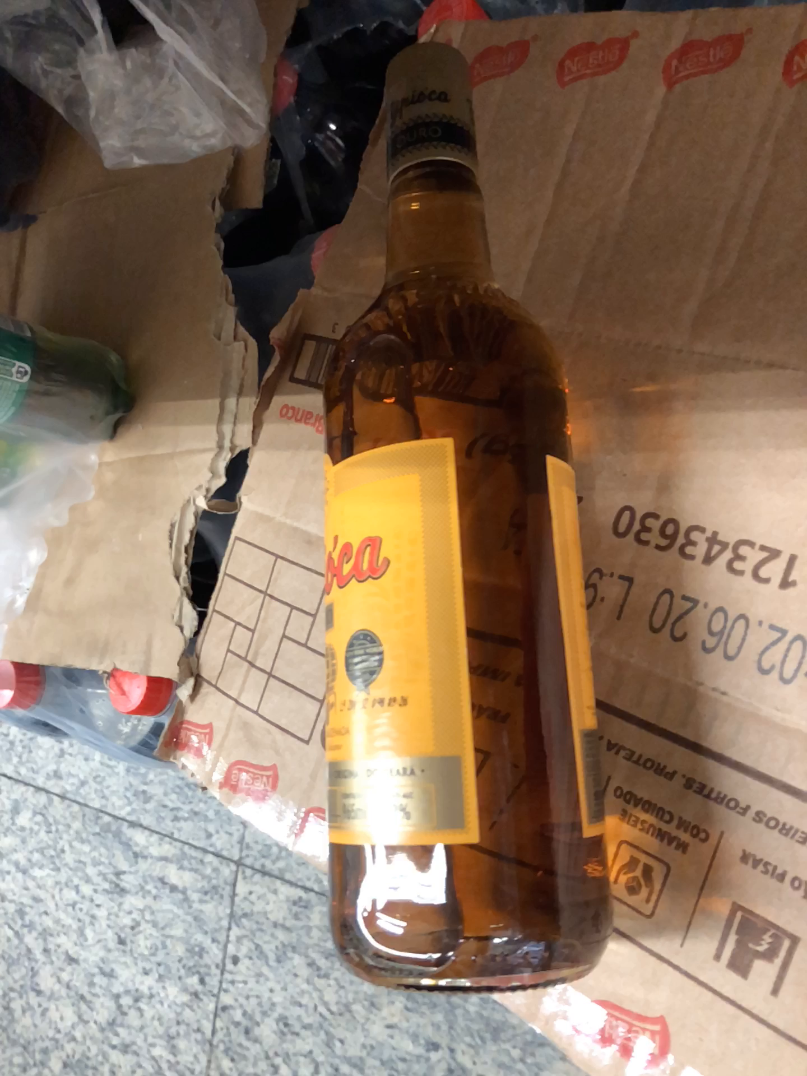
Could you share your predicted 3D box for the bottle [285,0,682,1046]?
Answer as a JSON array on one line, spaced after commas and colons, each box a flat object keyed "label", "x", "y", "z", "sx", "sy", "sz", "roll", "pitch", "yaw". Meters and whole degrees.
[{"label": "bottle", "x": 0.014, "y": -0.029, "z": 0.274, "sx": 0.090, "sy": 0.080, "sz": 0.310, "roll": 0, "pitch": 77, "yaw": -3}]
